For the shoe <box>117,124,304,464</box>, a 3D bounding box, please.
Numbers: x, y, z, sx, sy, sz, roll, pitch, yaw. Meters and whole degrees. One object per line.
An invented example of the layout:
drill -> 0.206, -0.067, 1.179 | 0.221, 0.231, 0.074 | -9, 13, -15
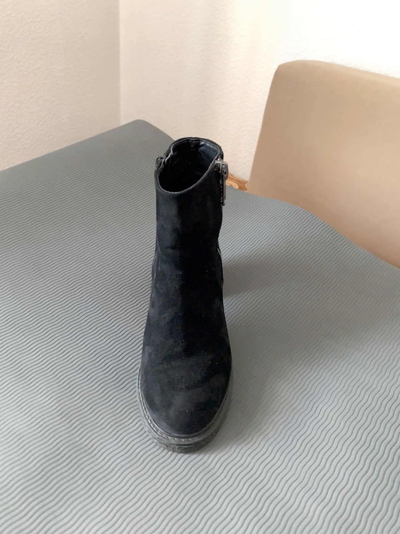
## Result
shoe -> -0.005, 0.007, 0.364 | 0.098, 0.179, 0.241 | 5, 36, -4
